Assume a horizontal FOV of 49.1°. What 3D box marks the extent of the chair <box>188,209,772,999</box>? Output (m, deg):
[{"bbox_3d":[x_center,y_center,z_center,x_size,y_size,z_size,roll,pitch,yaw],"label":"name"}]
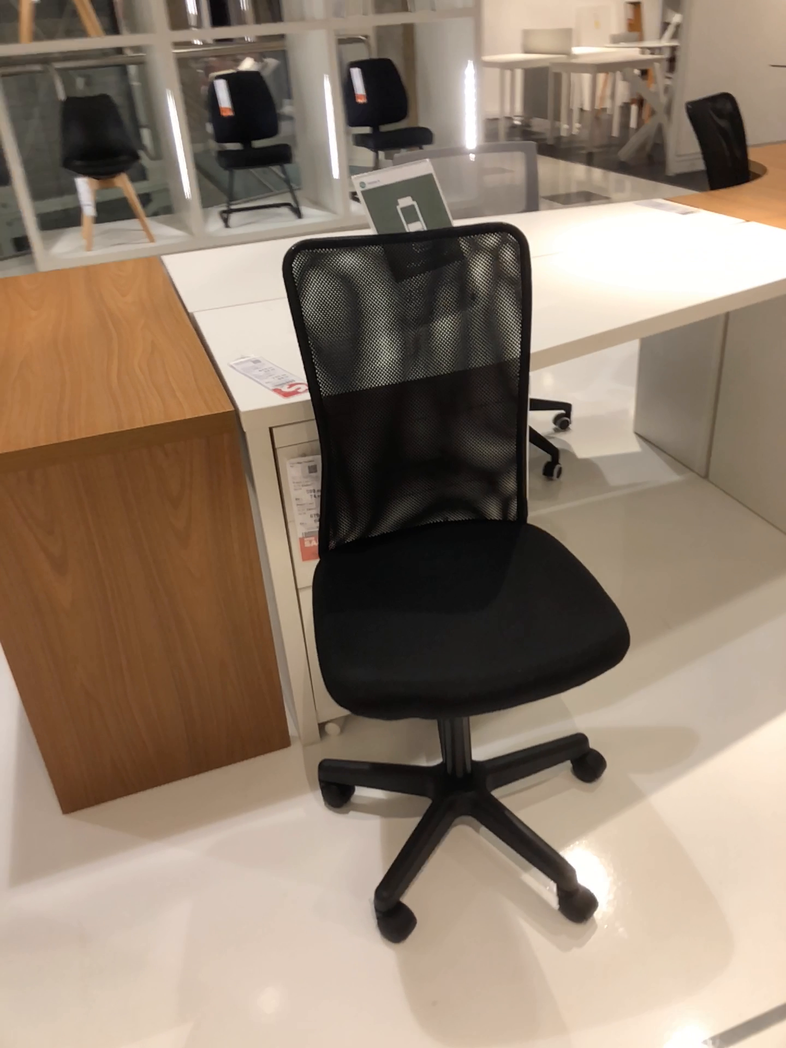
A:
[{"bbox_3d":[0.074,0.096,1.274,0.560,0.923,0.574,-8,30,-7],"label":"chair"}]
